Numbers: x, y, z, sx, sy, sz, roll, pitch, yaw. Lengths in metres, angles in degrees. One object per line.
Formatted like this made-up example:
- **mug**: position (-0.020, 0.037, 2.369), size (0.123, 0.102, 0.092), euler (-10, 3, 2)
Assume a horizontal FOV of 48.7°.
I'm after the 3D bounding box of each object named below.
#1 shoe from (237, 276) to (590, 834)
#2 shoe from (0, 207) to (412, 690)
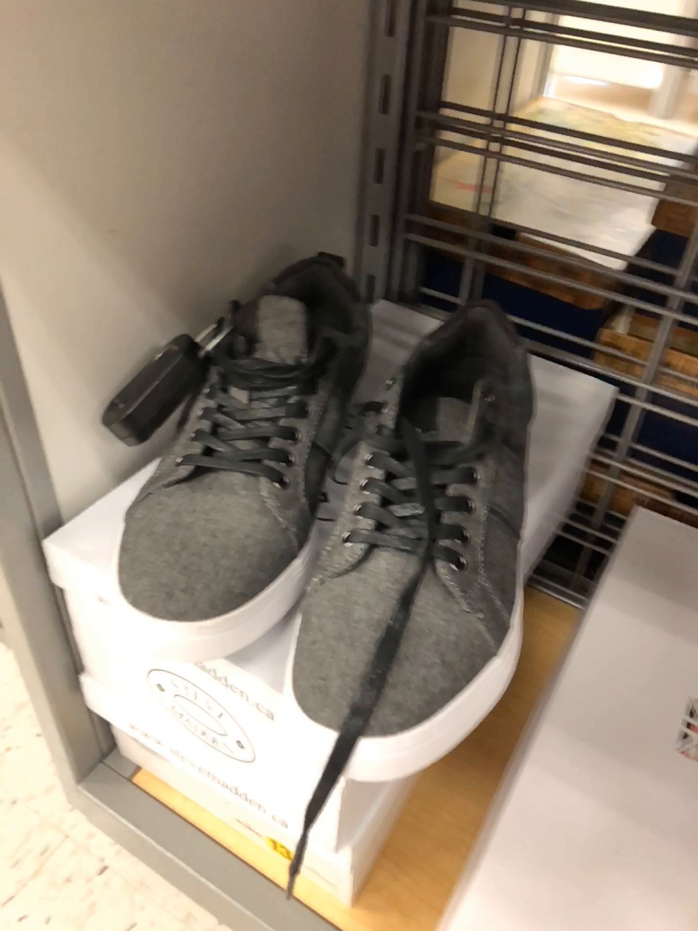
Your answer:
- **shoe**: position (0.045, 0.019, 0.381), size (0.100, 0.106, 0.255), euler (14, 42, 12)
- **shoe**: position (-0.050, -0.031, 0.412), size (0.110, 0.106, 0.255), euler (12, 41, 9)
